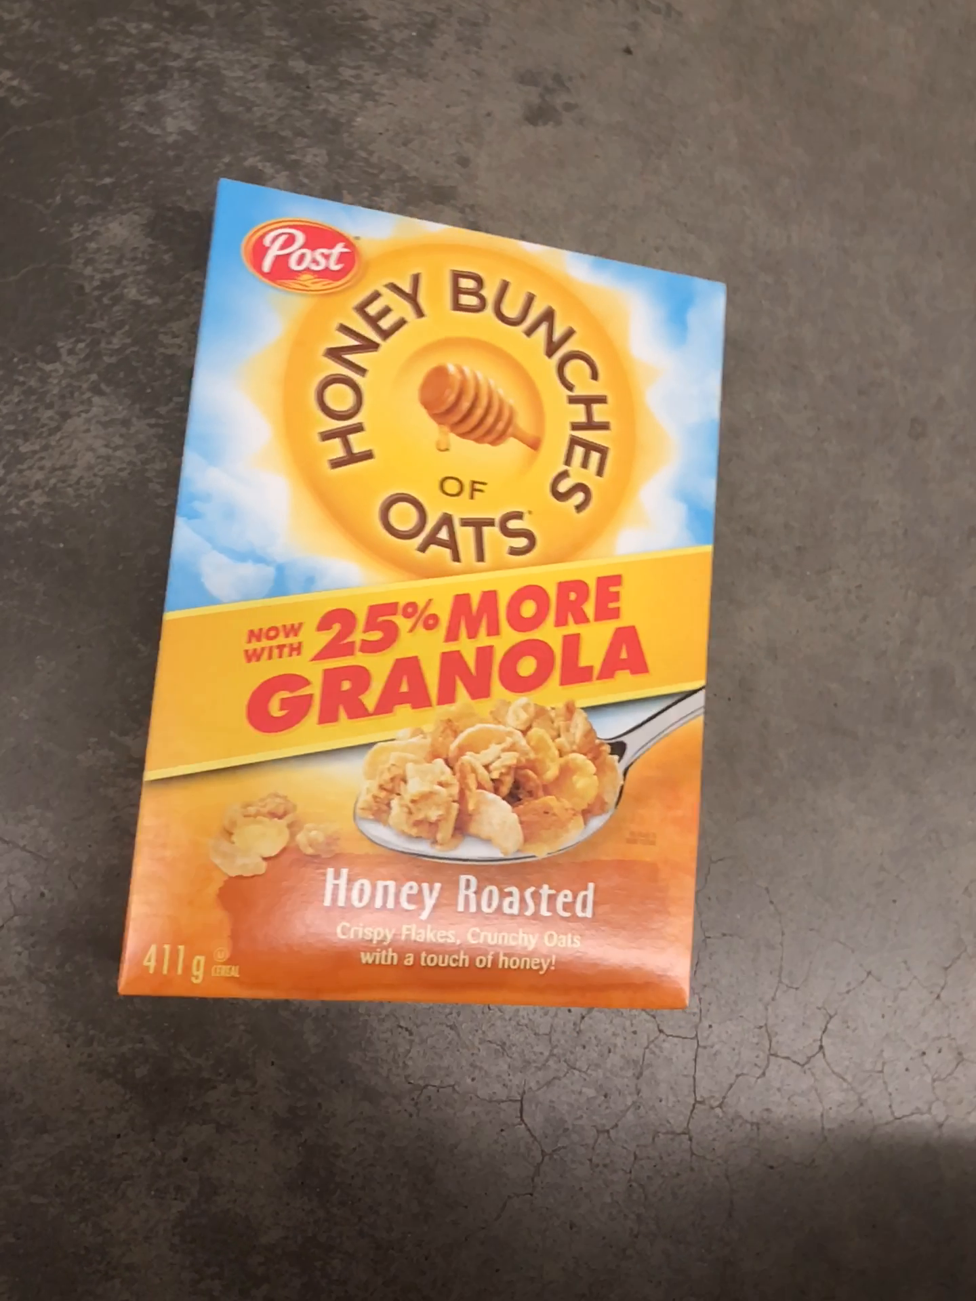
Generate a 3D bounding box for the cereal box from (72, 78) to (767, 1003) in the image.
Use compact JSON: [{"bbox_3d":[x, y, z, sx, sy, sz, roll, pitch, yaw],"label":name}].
[{"bbox_3d":[-0.017,-0.027,0.383,0.210,0.060,0.280,7,84,-18],"label":"cereal box"}]
